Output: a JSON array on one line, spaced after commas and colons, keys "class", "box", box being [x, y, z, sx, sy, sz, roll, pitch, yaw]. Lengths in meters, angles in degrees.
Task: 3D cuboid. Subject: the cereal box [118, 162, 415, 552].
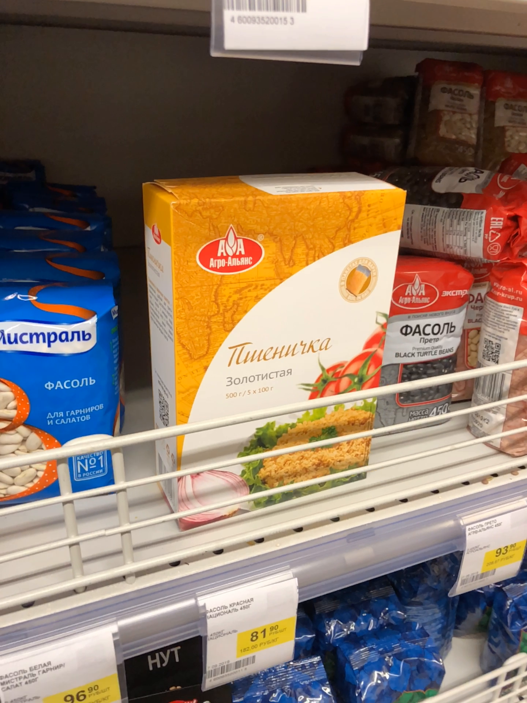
[{"class": "cereal box", "box": [0.000, 0.000, 0.341, 0.140, 0.199, 0.060, -10, 28, -24]}]
